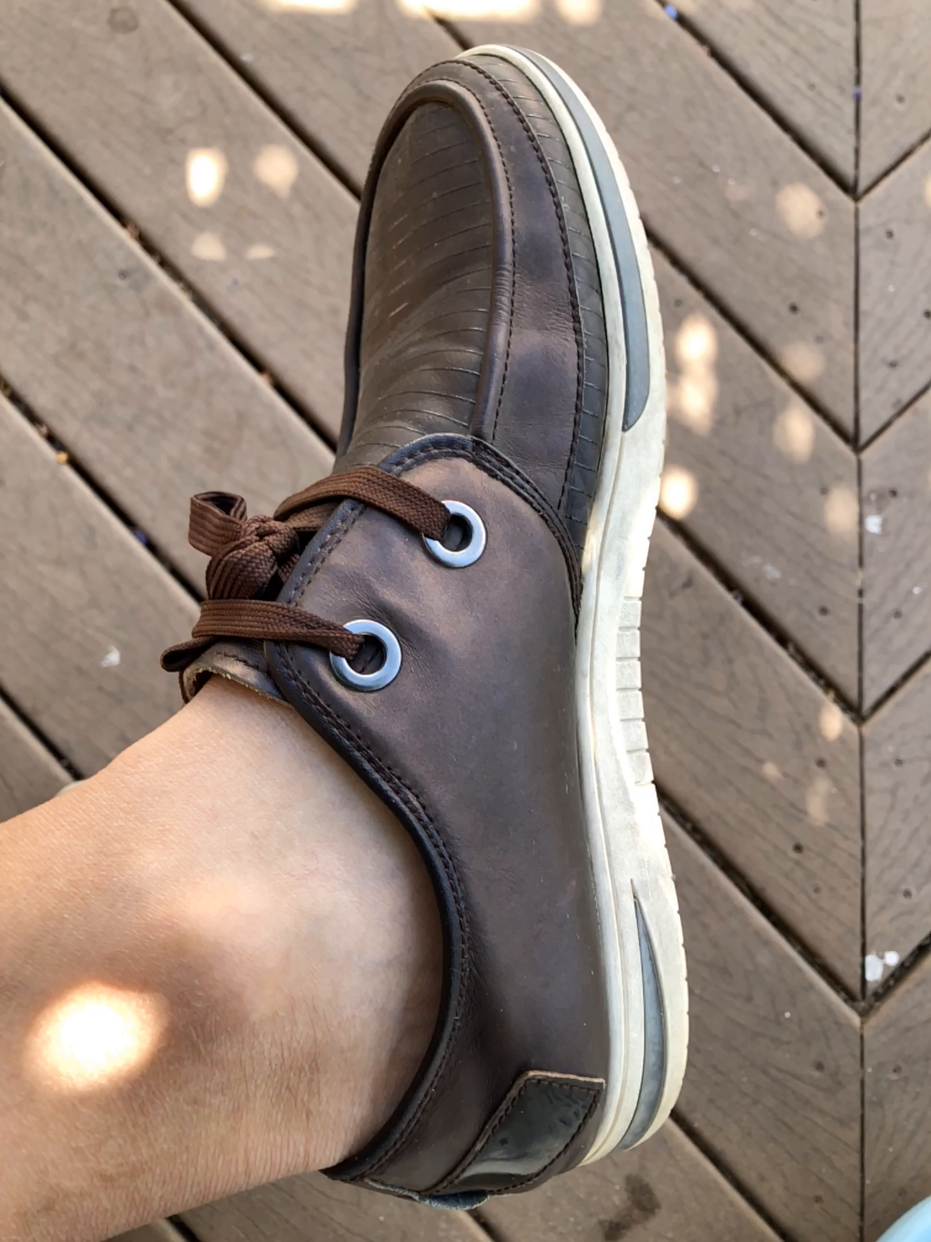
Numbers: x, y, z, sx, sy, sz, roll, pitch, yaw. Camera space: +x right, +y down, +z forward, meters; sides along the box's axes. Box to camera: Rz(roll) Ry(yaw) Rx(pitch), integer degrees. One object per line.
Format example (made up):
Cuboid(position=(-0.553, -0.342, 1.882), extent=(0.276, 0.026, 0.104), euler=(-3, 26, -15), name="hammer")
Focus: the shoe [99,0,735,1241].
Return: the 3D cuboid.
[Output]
Cuboid(position=(-0.008, -0.013, 0.250), extent=(0.102, 0.097, 0.274), euler=(7, 82, -42), name="shoe")
